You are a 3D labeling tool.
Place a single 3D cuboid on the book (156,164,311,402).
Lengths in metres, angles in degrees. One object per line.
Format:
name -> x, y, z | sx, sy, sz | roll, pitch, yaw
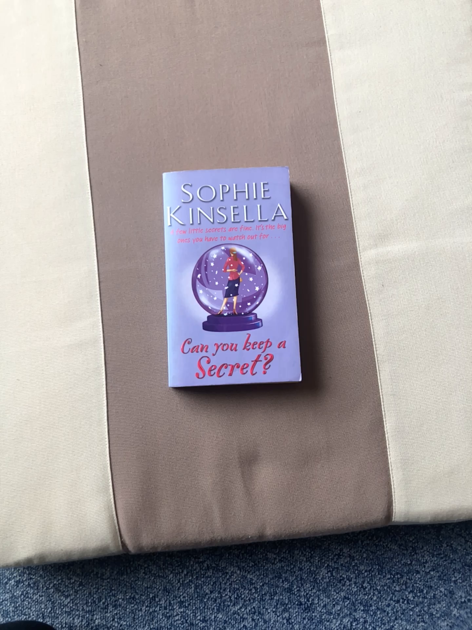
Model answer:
book -> -0.004, -0.025, 0.414 | 0.110, 0.040, 0.180 | -2, 82, -1
